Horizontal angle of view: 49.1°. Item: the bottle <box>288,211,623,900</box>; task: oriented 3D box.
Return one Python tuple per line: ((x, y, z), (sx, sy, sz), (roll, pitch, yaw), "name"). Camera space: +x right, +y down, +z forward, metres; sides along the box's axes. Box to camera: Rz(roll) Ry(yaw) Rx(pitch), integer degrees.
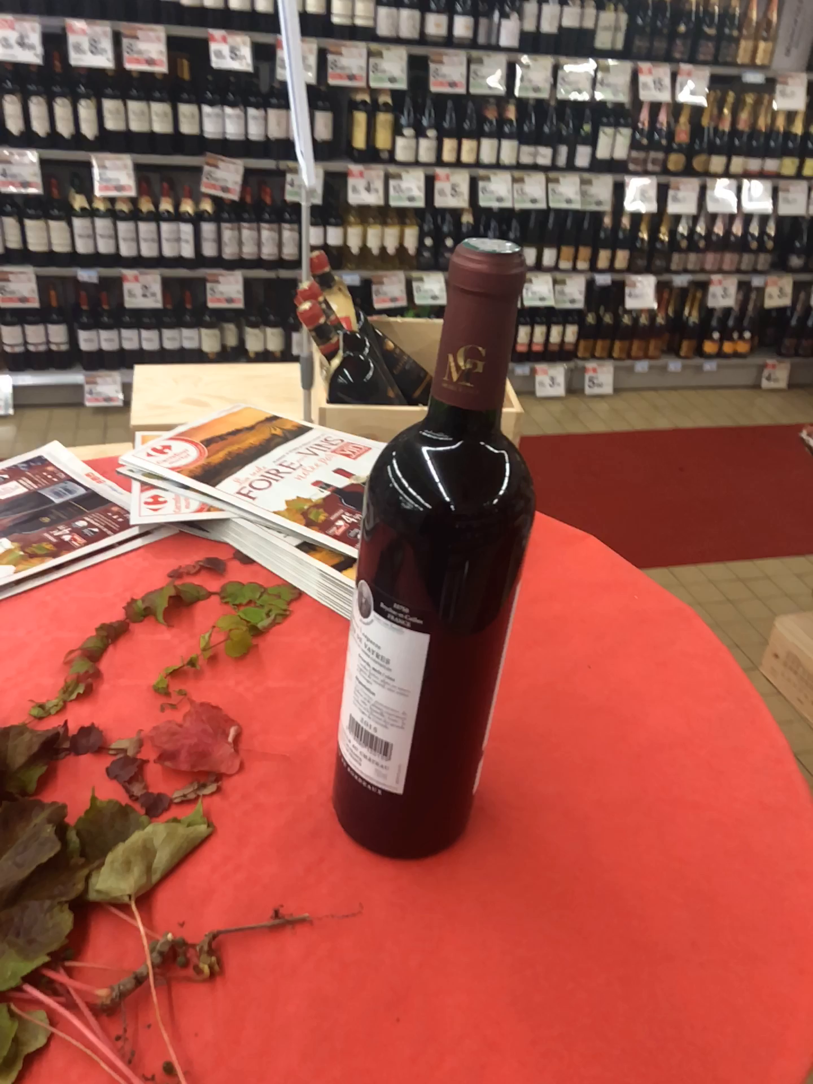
((0.006, 0.015, 0.409), (0.090, 0.298, 0.090), (4, 30, -2), "bottle")
